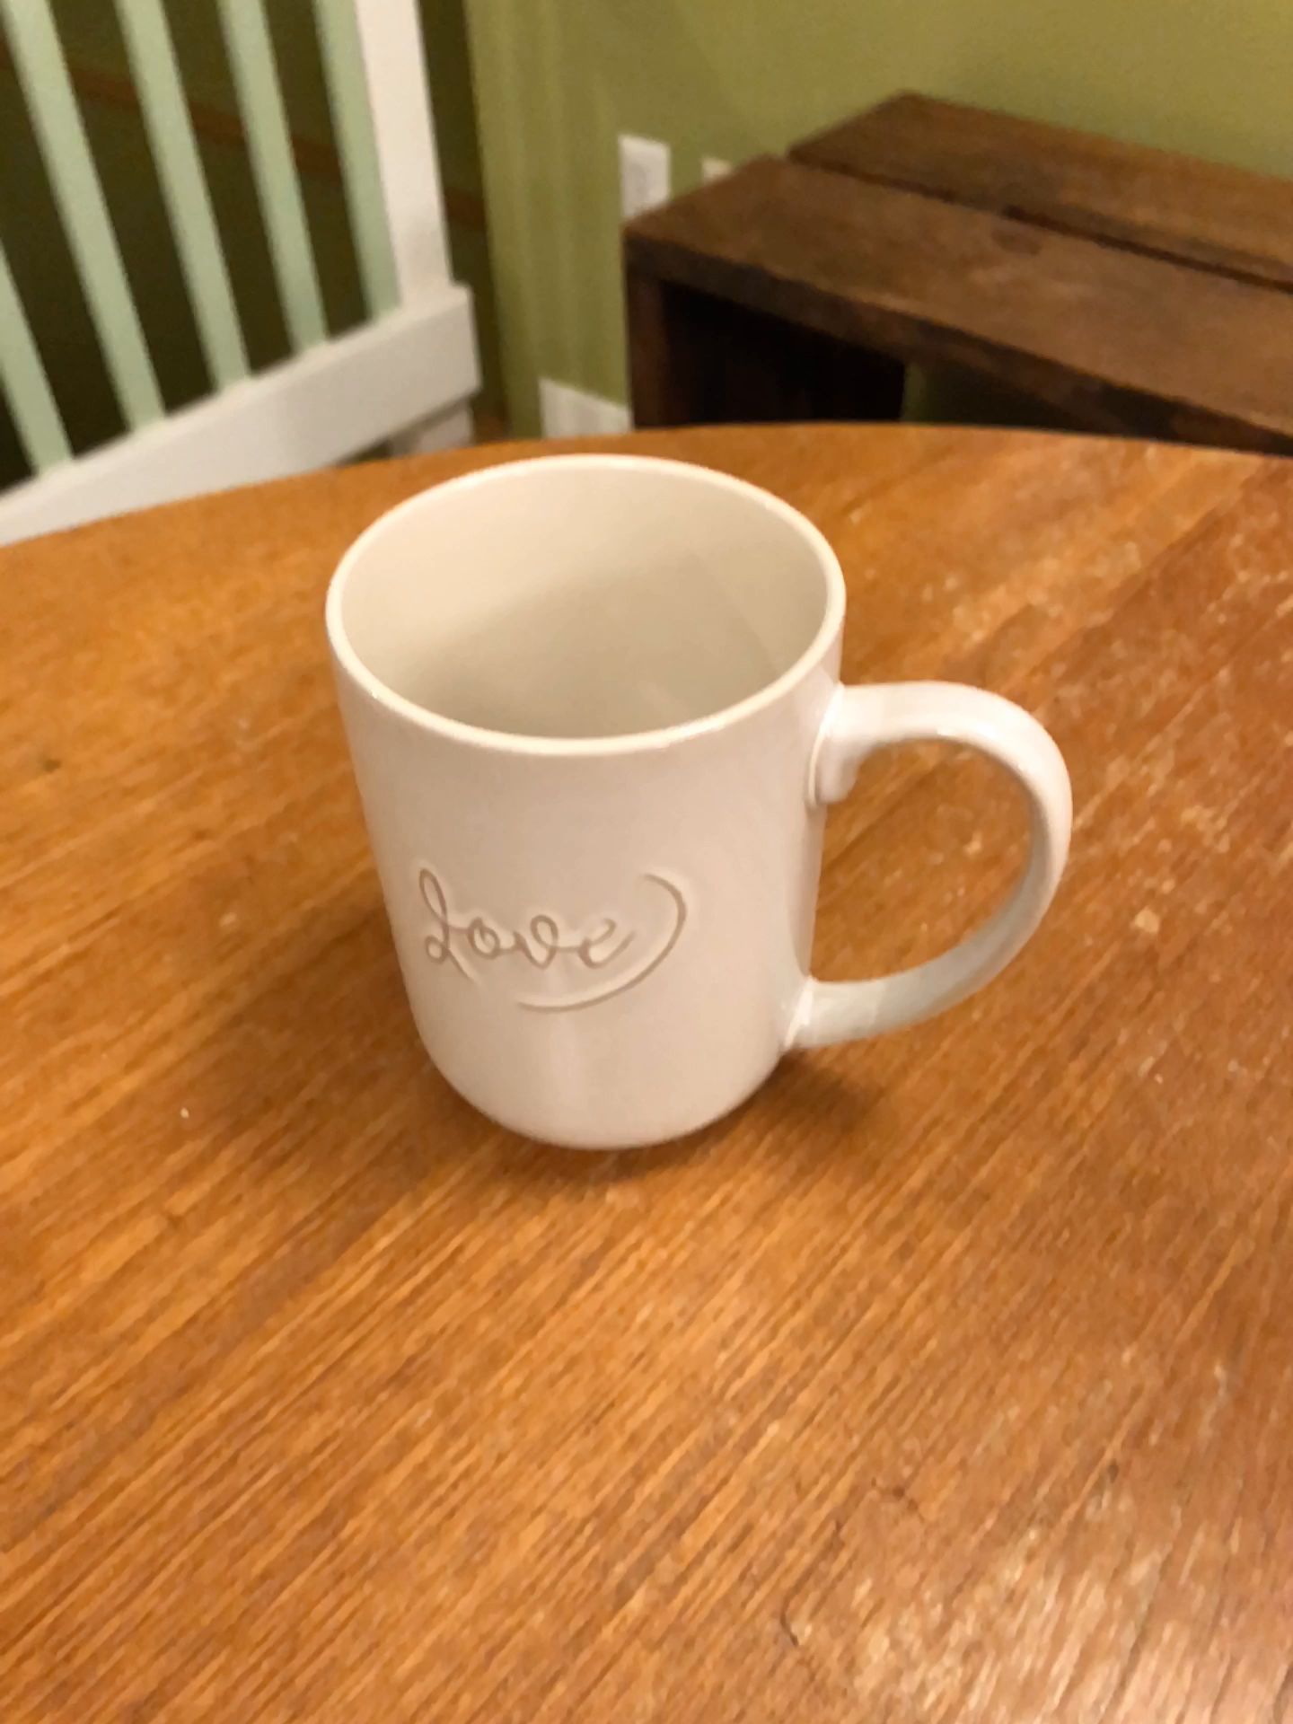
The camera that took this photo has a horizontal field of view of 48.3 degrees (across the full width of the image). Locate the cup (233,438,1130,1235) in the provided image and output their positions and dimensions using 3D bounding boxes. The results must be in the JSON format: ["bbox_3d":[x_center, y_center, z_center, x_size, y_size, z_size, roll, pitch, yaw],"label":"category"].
[{"bbox_3d":[0.010,-0.004,0.291,0.134,0.124,0.092,3,44,6],"label":"cup"}]
